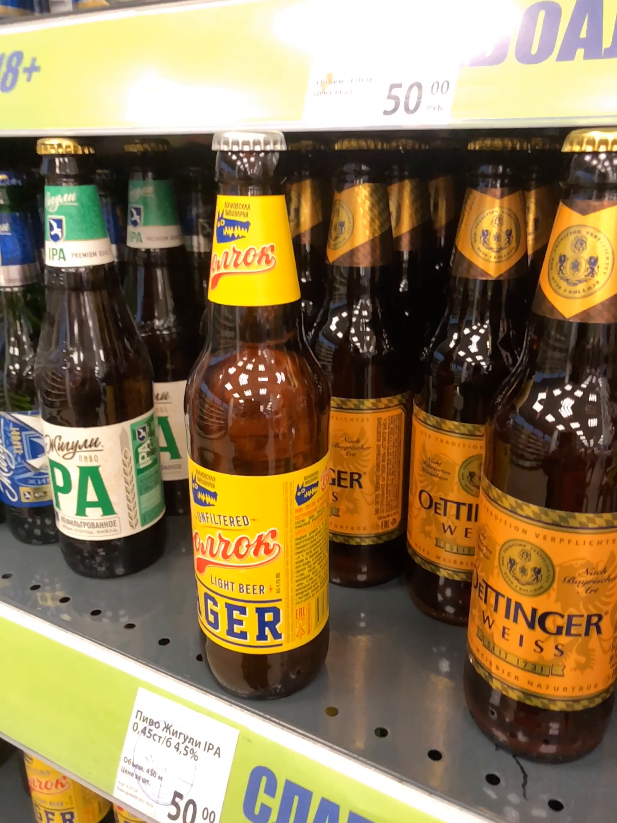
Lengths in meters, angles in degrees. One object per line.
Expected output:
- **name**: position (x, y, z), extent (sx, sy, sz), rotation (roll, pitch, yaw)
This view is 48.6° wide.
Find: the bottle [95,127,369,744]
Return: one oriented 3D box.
- **bottle**: position (-0.025, 0.010, 0.290), extent (0.070, 0.239, 0.070), rotation (-1, 21, 1)
